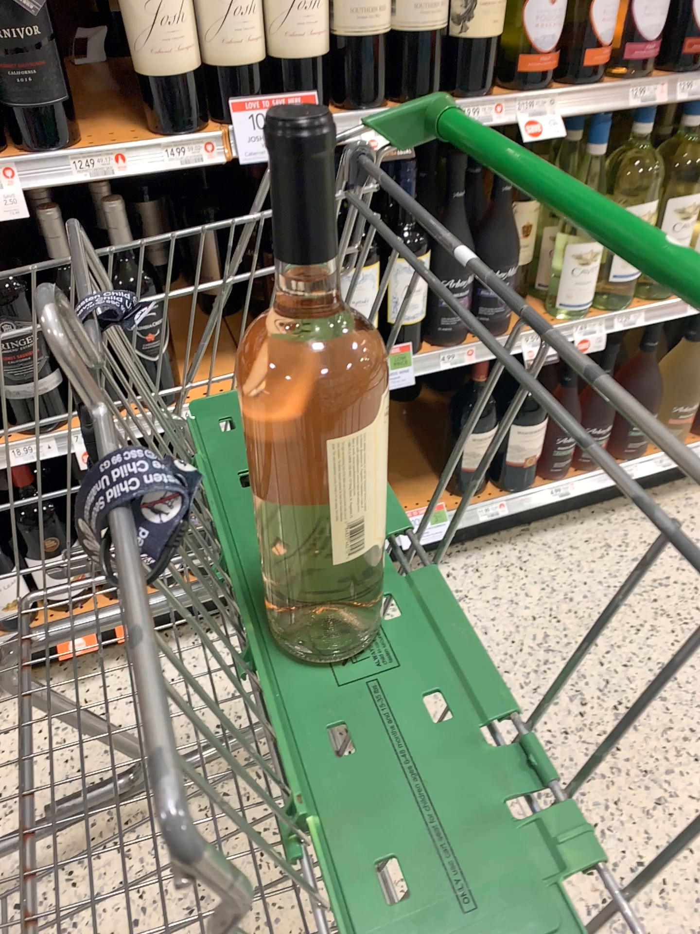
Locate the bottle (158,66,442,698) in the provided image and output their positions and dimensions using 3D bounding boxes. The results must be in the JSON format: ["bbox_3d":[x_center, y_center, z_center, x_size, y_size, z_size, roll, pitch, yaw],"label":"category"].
[{"bbox_3d":[-0.020,-0.017,0.370,0.086,0.315,0.084,-1,40,1],"label":"bottle"}]
